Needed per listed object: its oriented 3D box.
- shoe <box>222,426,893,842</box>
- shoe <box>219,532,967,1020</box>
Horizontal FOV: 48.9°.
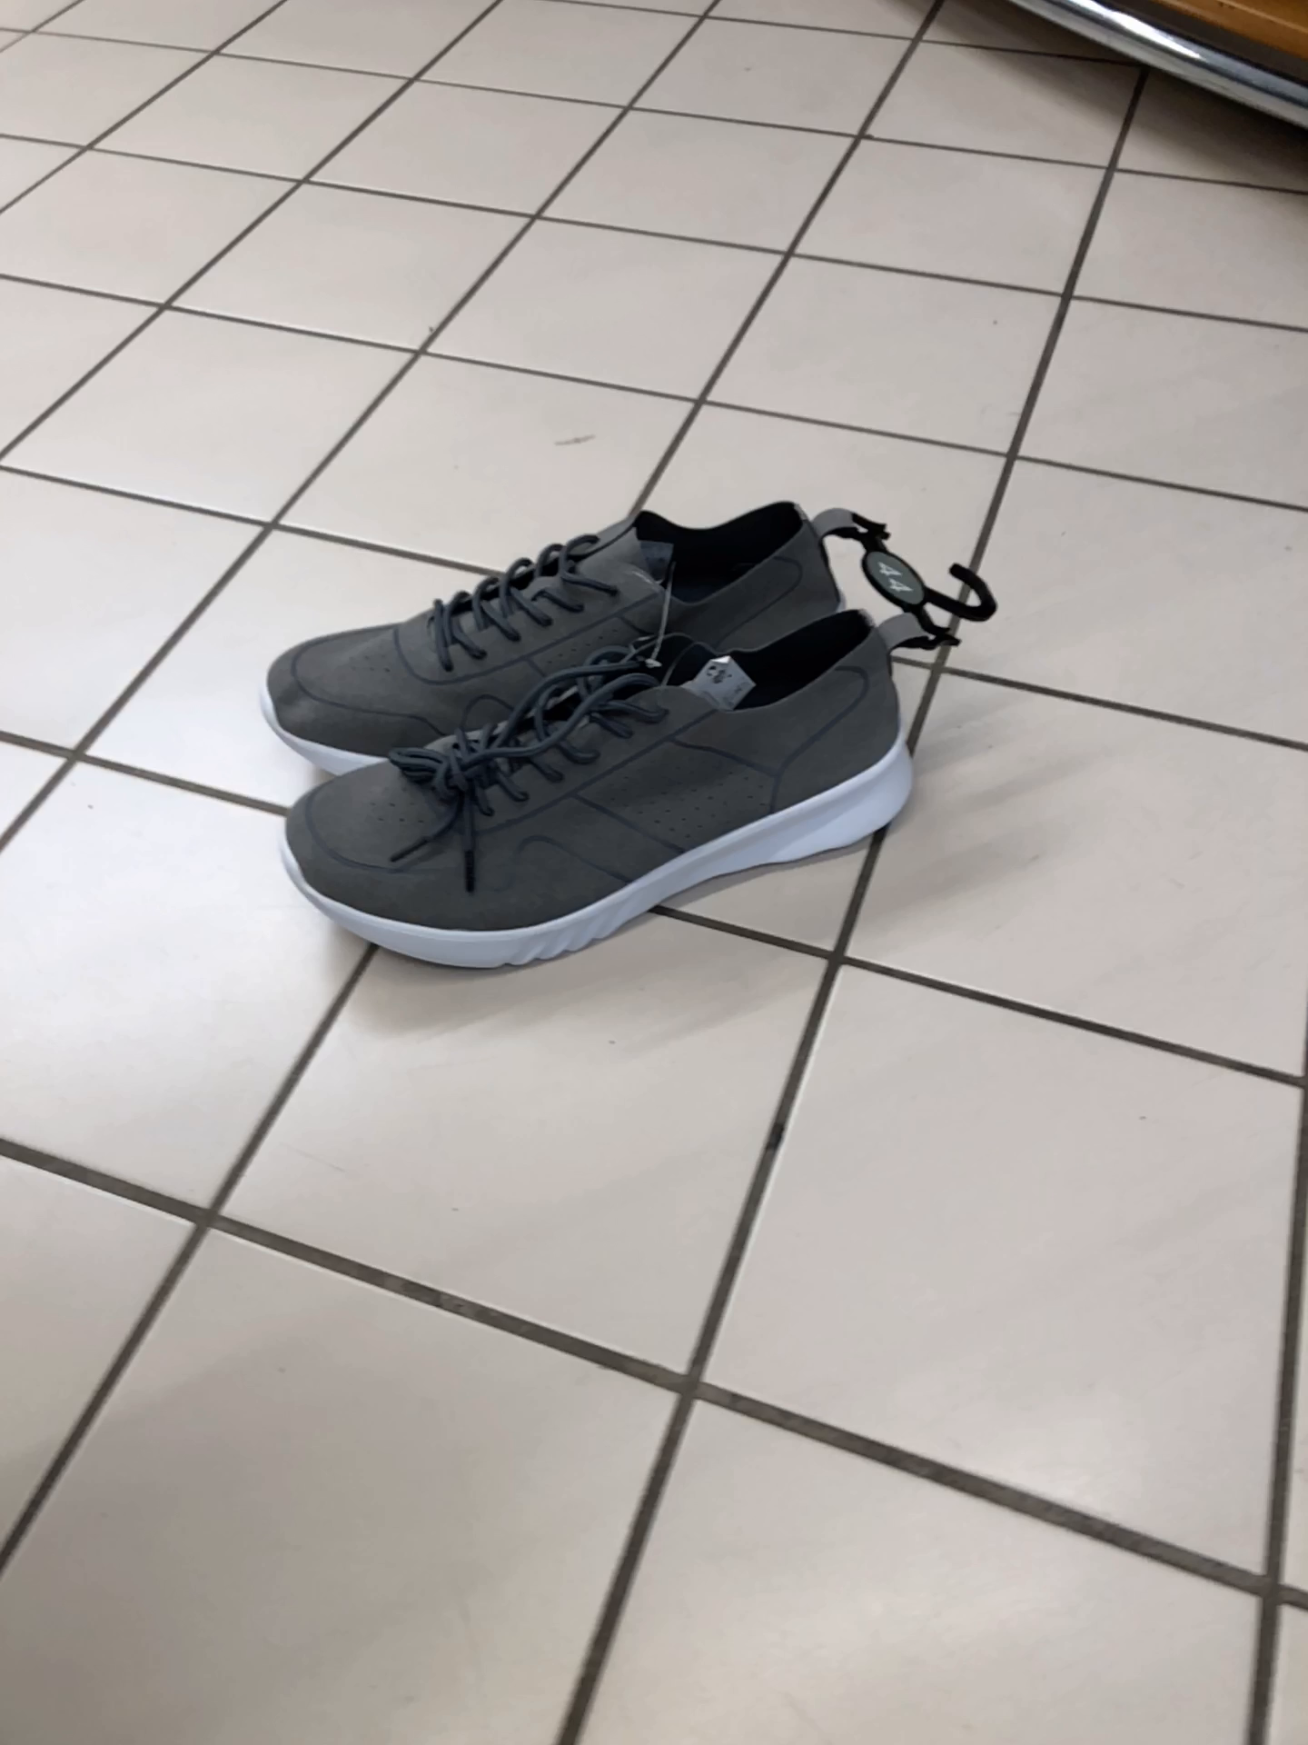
[{"bbox_3d":[-0.046,-0.117,0.694,0.290,0.099,0.110,-12,50,-8],"label":"shoe"},{"bbox_3d":[-0.026,-0.046,0.632,0.290,0.099,0.110,-15,51,-10],"label":"shoe"}]
